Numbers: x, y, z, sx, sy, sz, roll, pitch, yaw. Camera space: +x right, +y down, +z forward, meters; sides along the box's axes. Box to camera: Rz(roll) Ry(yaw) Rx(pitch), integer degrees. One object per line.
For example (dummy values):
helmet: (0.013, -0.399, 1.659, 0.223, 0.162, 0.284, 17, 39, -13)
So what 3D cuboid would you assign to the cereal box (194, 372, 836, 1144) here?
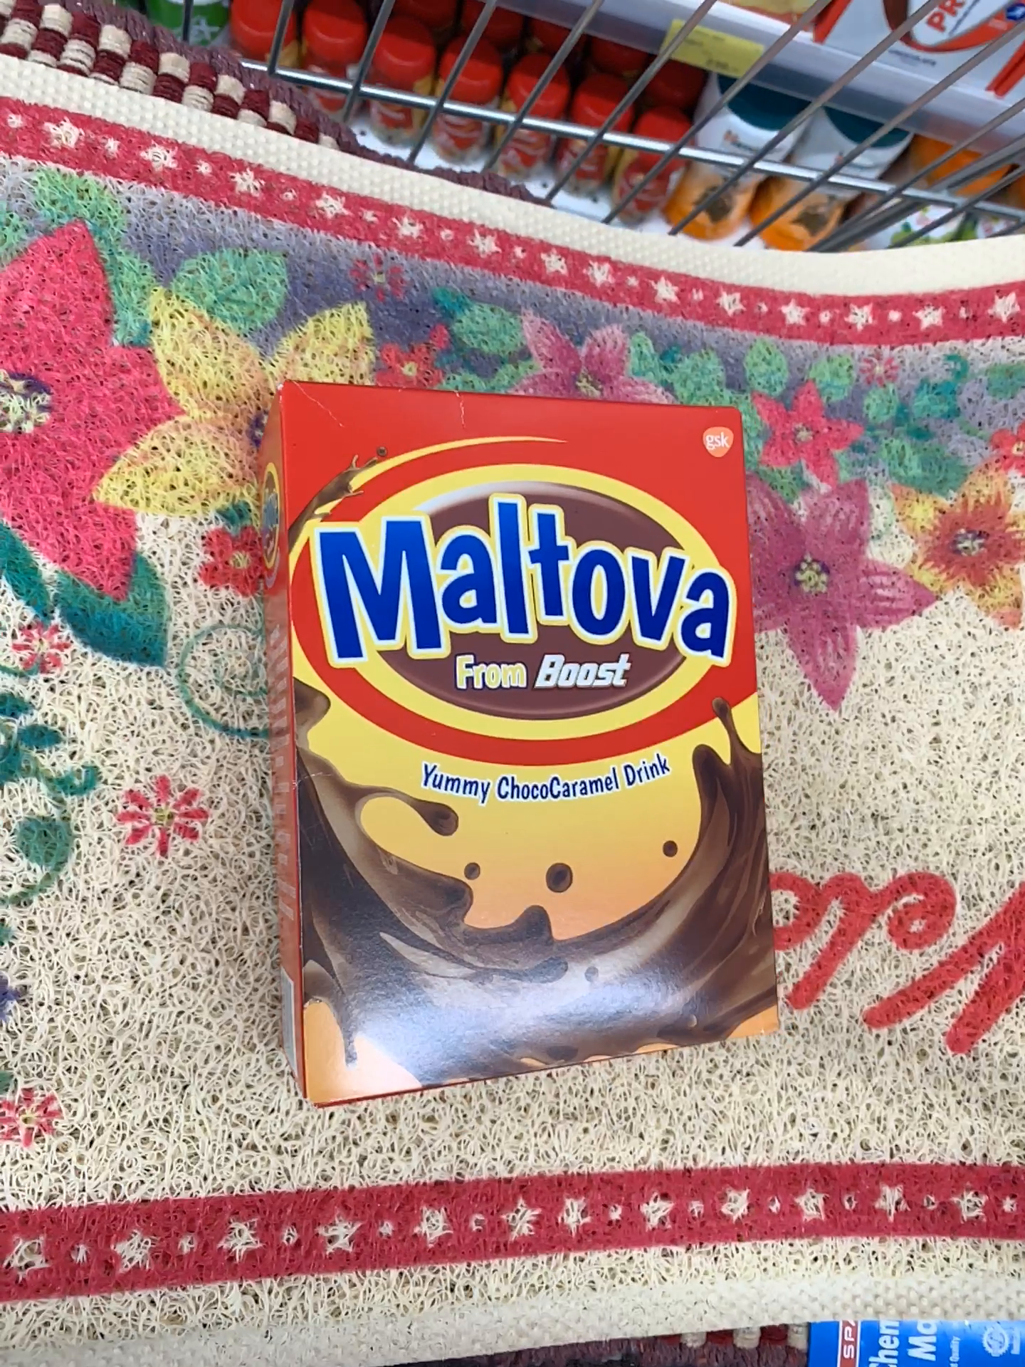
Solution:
cereal box: (-0.002, 0.014, 0.279, 0.150, 0.050, 0.170, -2, 84, -17)
